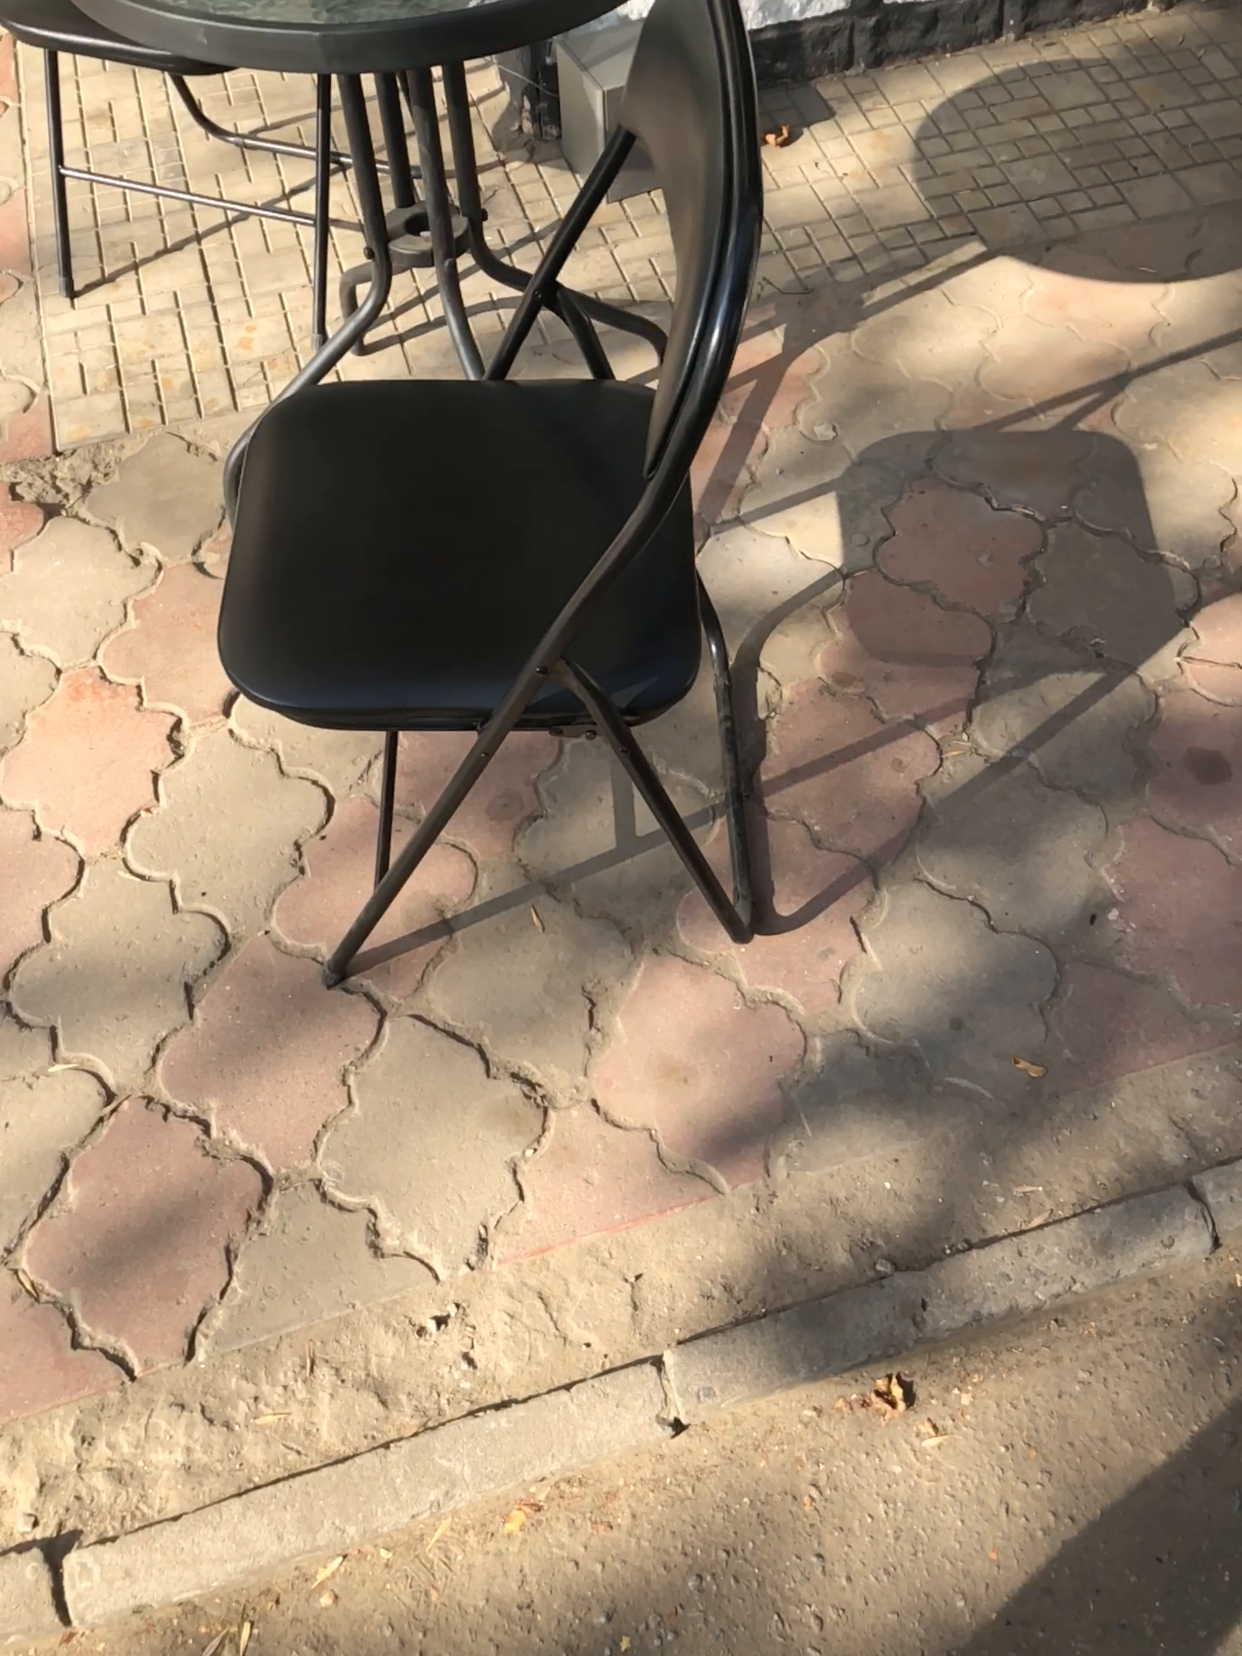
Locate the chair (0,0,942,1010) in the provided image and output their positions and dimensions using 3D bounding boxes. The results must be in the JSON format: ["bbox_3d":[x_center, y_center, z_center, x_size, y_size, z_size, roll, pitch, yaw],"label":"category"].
[{"bbox_3d":[-0.091,-0.253,1.118,0.500,0.638,0.532,-4,55,-1],"label":"chair"}]
